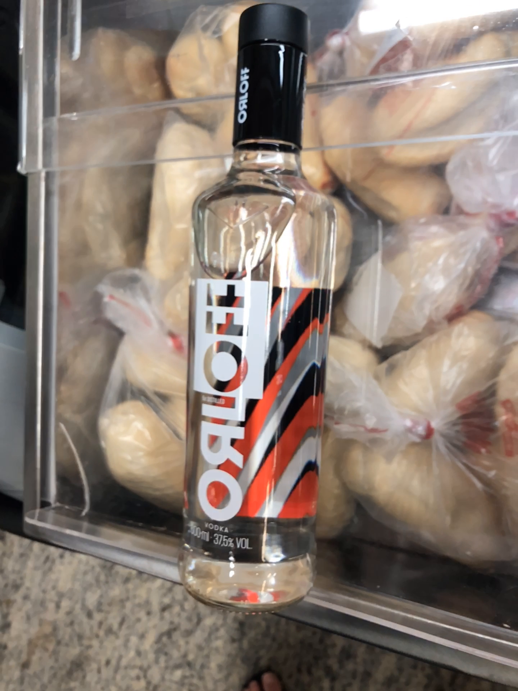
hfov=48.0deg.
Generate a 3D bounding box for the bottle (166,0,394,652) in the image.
[{"bbox_3d":[0.010,-0.023,0.282,0.070,0.070,0.300,6,96,28],"label":"bottle"}]
